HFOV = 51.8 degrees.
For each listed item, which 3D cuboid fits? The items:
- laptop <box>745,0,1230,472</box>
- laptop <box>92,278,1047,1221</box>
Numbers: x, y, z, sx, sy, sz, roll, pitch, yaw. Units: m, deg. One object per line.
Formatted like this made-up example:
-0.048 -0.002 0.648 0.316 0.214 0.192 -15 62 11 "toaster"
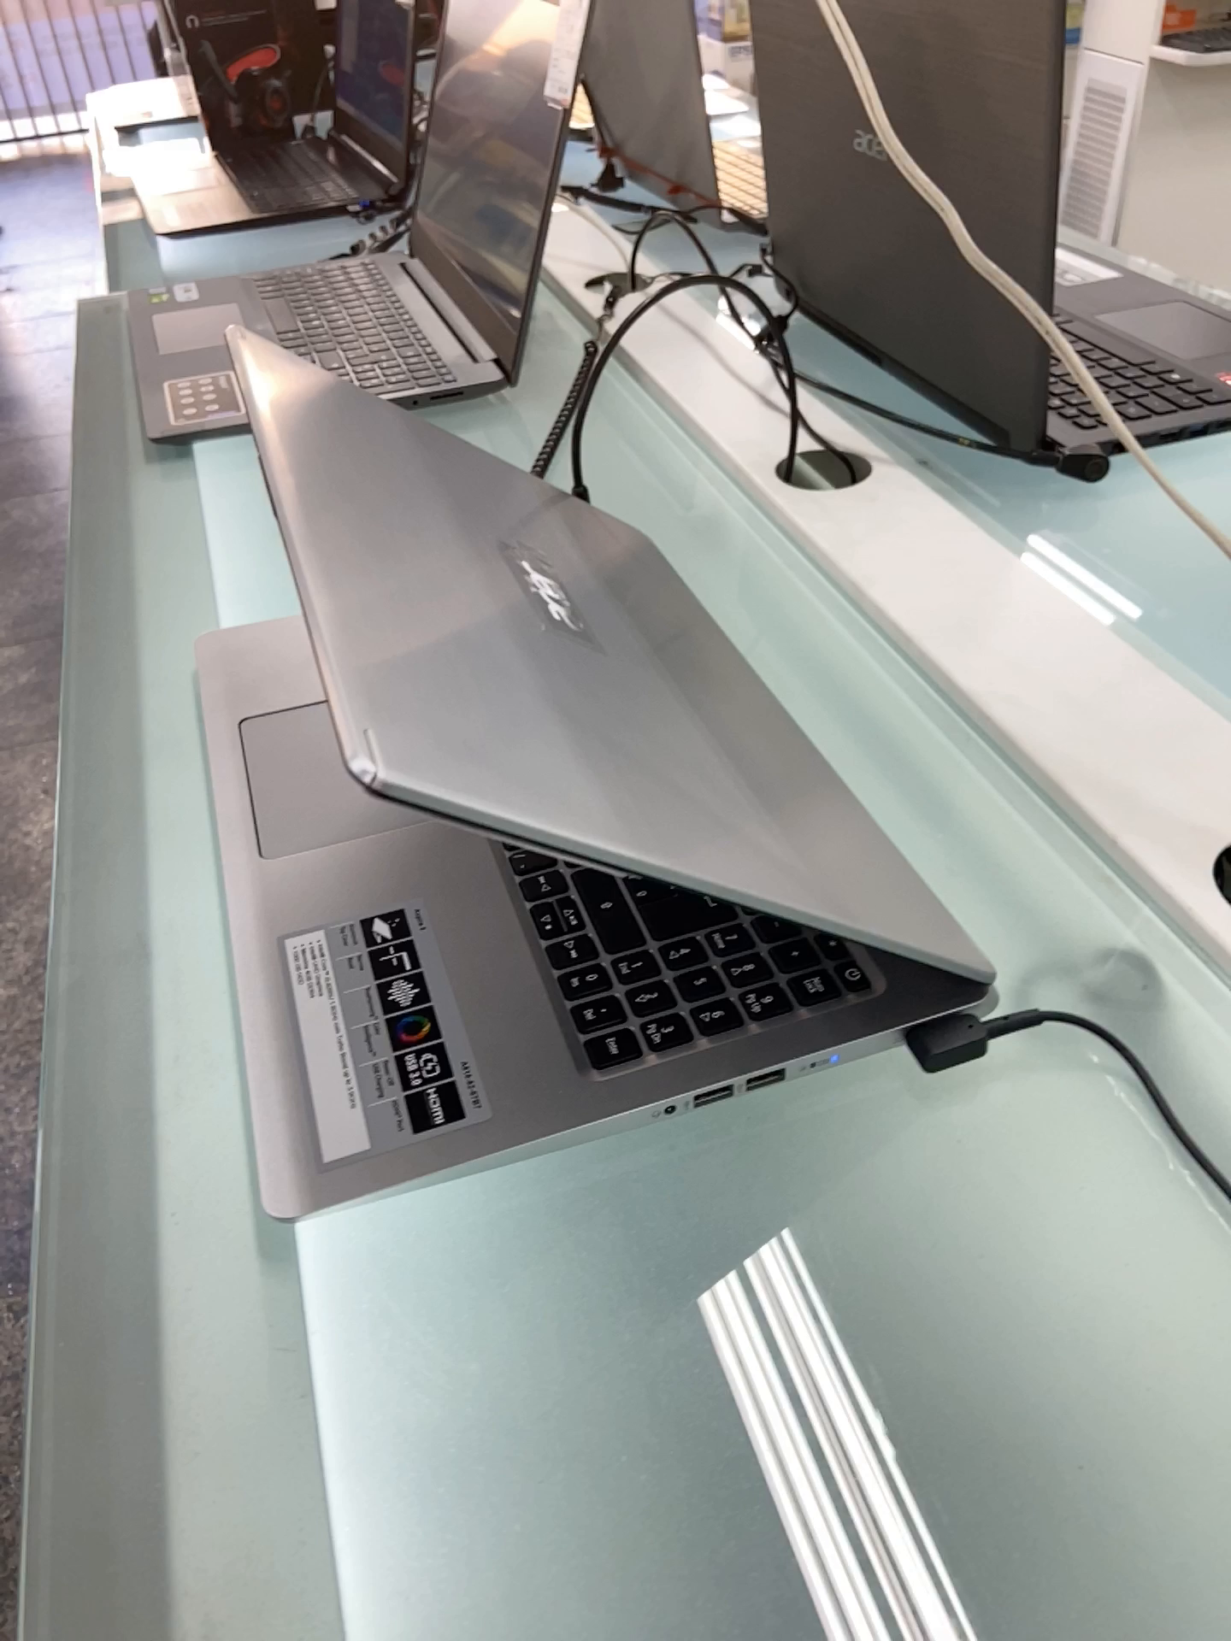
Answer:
0.283 -0.449 0.831 0.264 0.249 0.365 -16 41 -11 "laptop"
-0.053 -0.071 0.486 0.236 0.138 0.362 -15 40 -12 "laptop"
